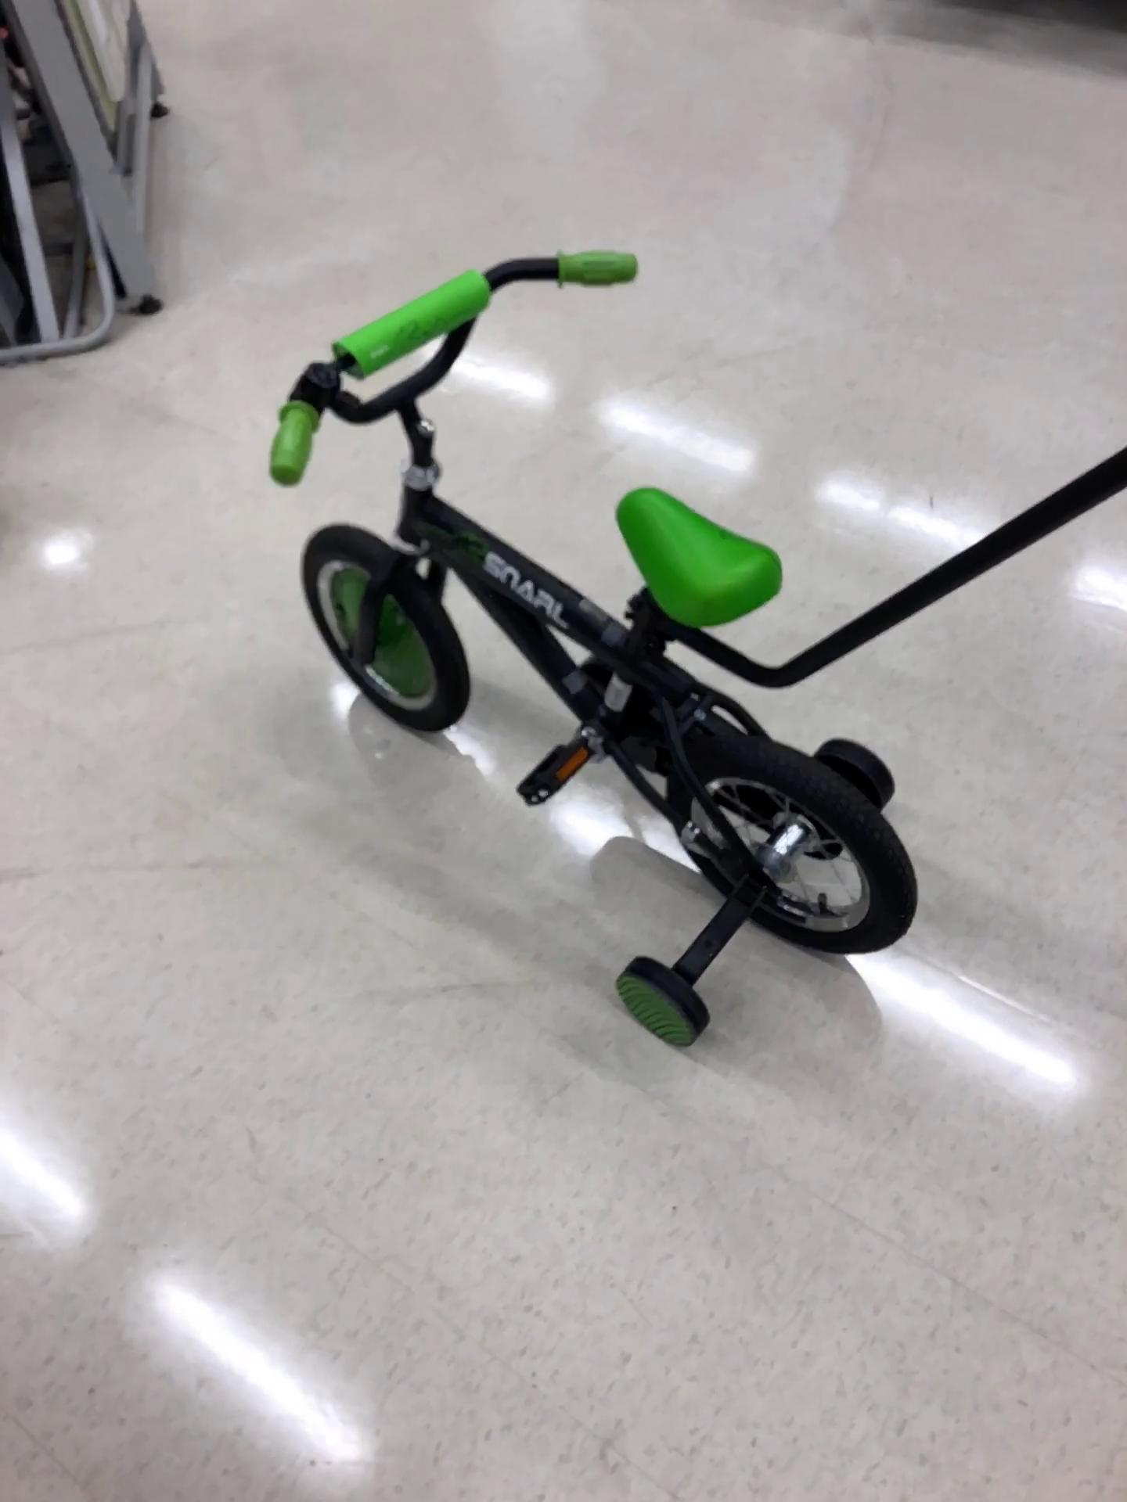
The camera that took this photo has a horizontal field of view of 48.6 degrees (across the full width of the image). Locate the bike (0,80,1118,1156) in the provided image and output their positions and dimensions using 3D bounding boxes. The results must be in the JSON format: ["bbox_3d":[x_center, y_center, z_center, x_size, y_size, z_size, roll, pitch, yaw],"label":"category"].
[{"bbox_3d":[-0.012,-0.155,1.280,0.848,0.600,0.491,31,60,24],"label":"bike"}]
